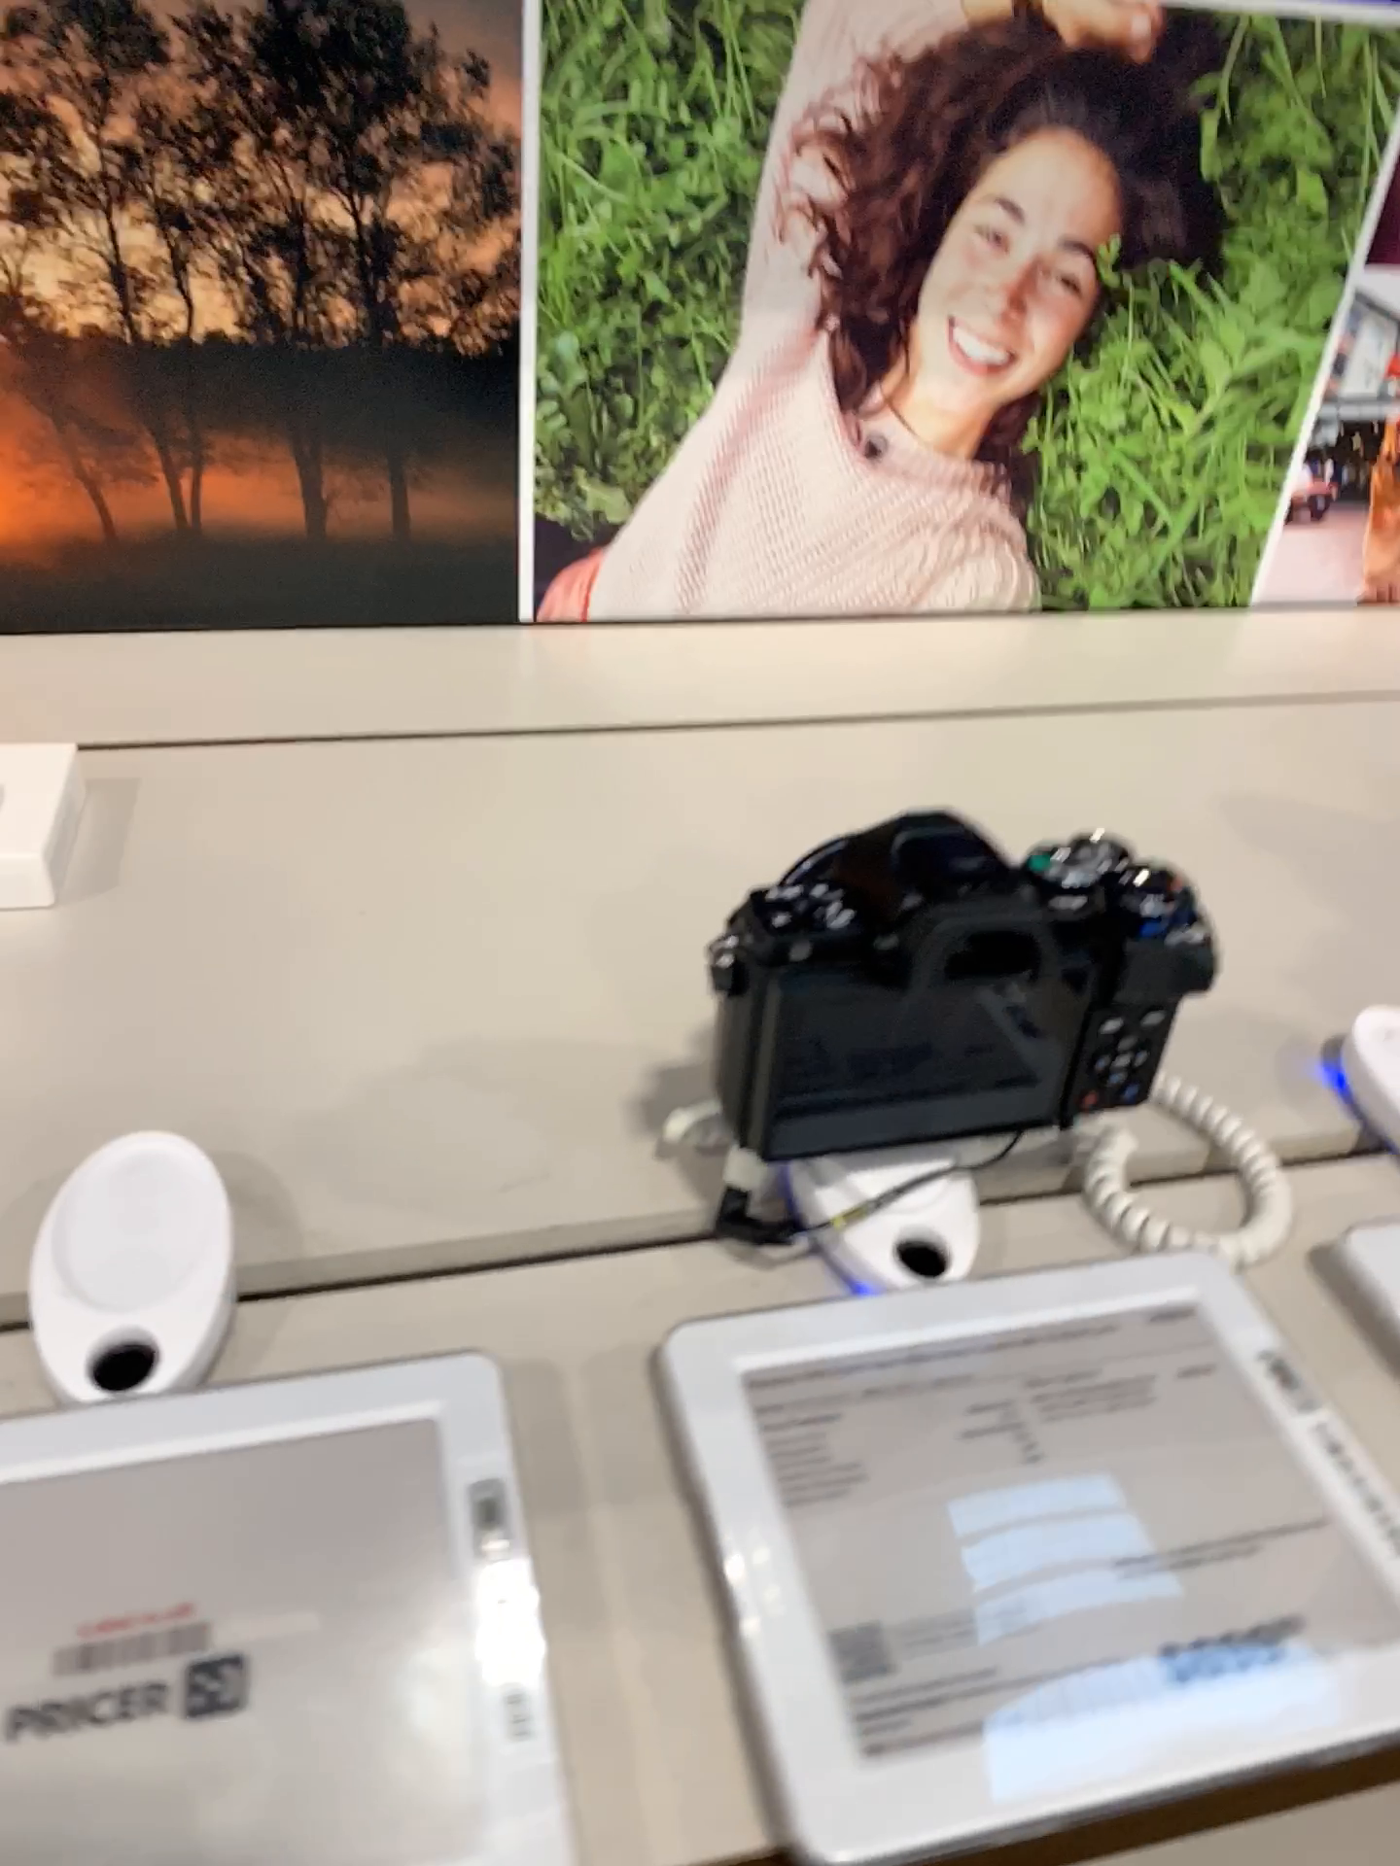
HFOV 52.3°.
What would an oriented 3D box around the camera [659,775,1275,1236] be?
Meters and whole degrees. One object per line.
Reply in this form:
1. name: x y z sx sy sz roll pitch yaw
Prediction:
1. camera: 0.063 0.015 0.373 0.130 0.080 0.070 -6 36 -15
